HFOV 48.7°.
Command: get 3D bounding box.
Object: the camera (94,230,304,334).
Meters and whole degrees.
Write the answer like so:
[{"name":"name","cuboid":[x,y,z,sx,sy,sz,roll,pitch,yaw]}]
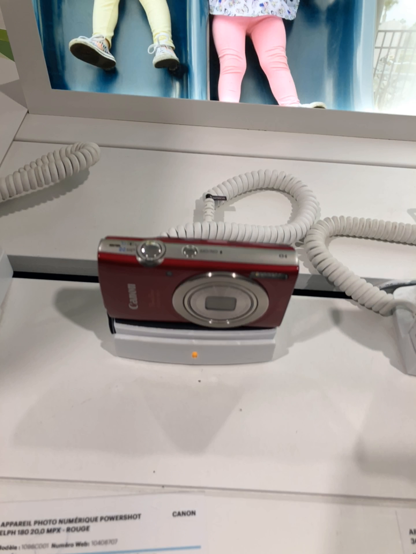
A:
[{"name":"camera","cuboid":[-0.005,0.004,0.228,0.093,0.050,0.022,2,50,-2]}]
